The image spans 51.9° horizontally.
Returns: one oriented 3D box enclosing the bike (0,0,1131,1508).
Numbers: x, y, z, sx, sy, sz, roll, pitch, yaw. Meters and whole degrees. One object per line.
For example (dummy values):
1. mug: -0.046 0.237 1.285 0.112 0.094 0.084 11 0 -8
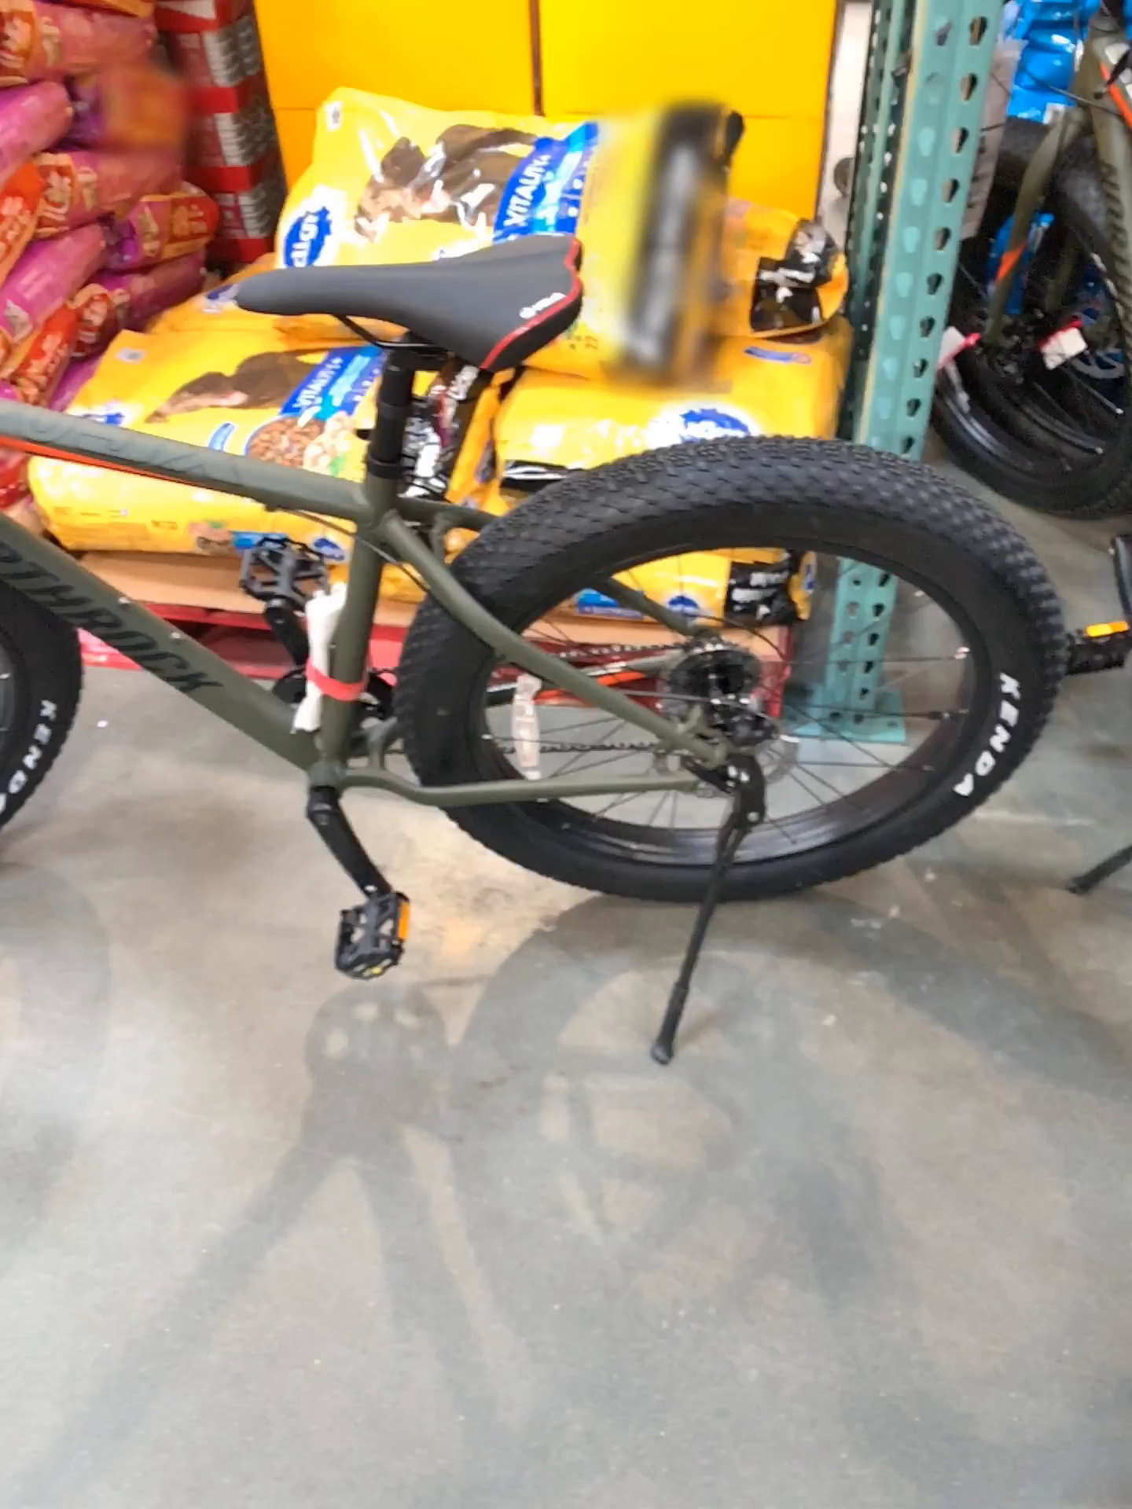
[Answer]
1. bike: -0.183 -0.033 0.906 1.713 1.203 0.594 -9 42 -19
